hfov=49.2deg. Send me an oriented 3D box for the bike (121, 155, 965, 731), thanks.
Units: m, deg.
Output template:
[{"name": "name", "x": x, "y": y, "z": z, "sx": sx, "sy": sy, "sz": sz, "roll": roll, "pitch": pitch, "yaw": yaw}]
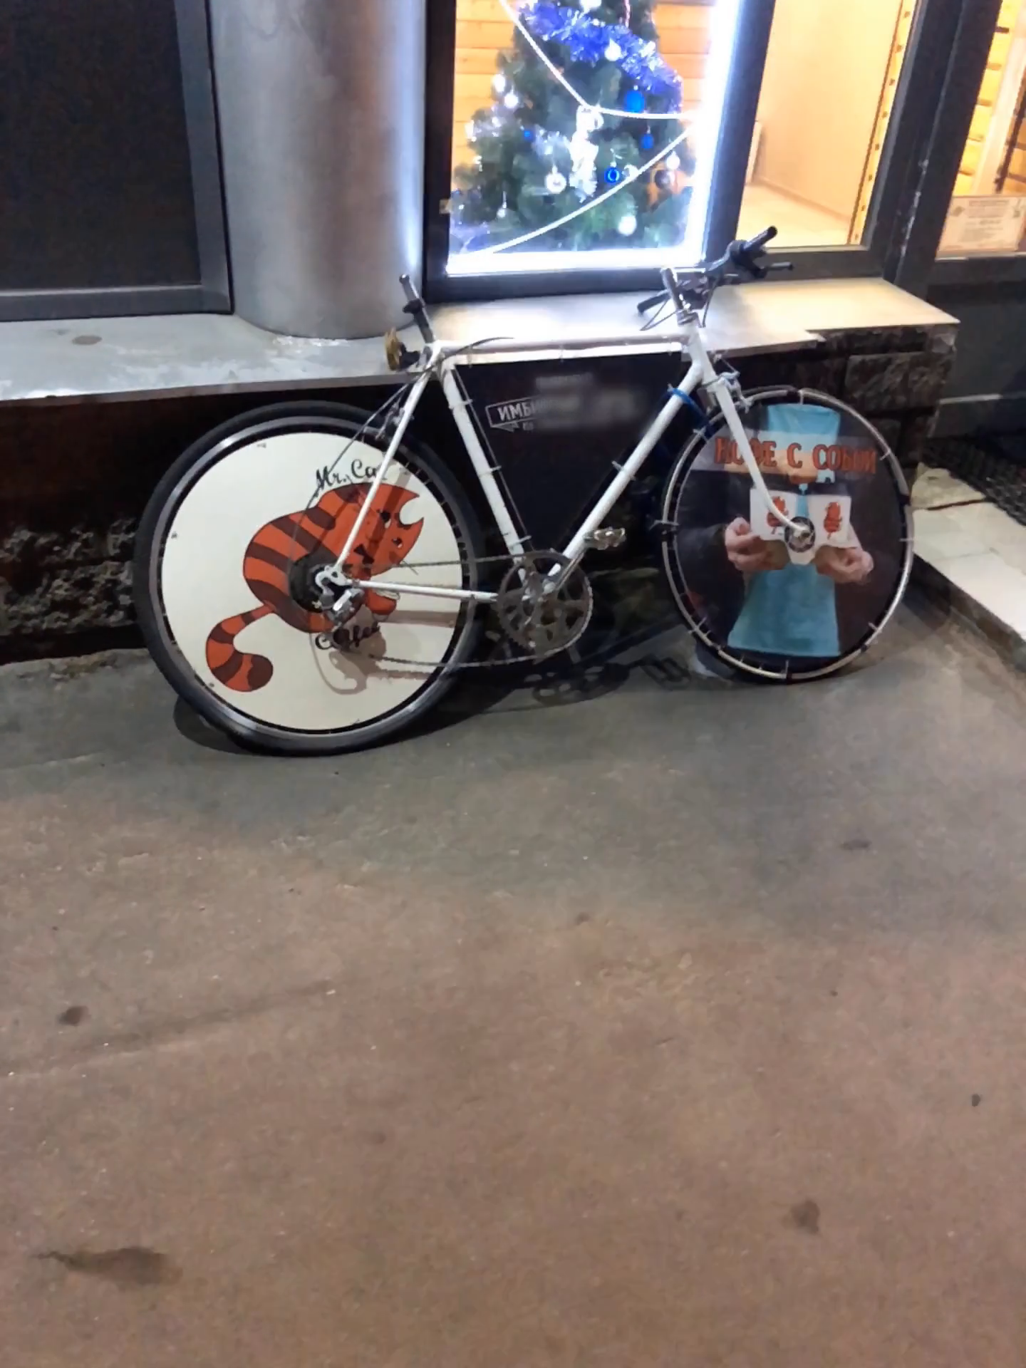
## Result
[{"name": "bike", "x": 0.045, "y": -0.580, "z": 2.432, "sx": 1.586, "sy": 0.917, "sz": 0.572, "roll": -10, "pitch": 36, "yaw": -18}]
